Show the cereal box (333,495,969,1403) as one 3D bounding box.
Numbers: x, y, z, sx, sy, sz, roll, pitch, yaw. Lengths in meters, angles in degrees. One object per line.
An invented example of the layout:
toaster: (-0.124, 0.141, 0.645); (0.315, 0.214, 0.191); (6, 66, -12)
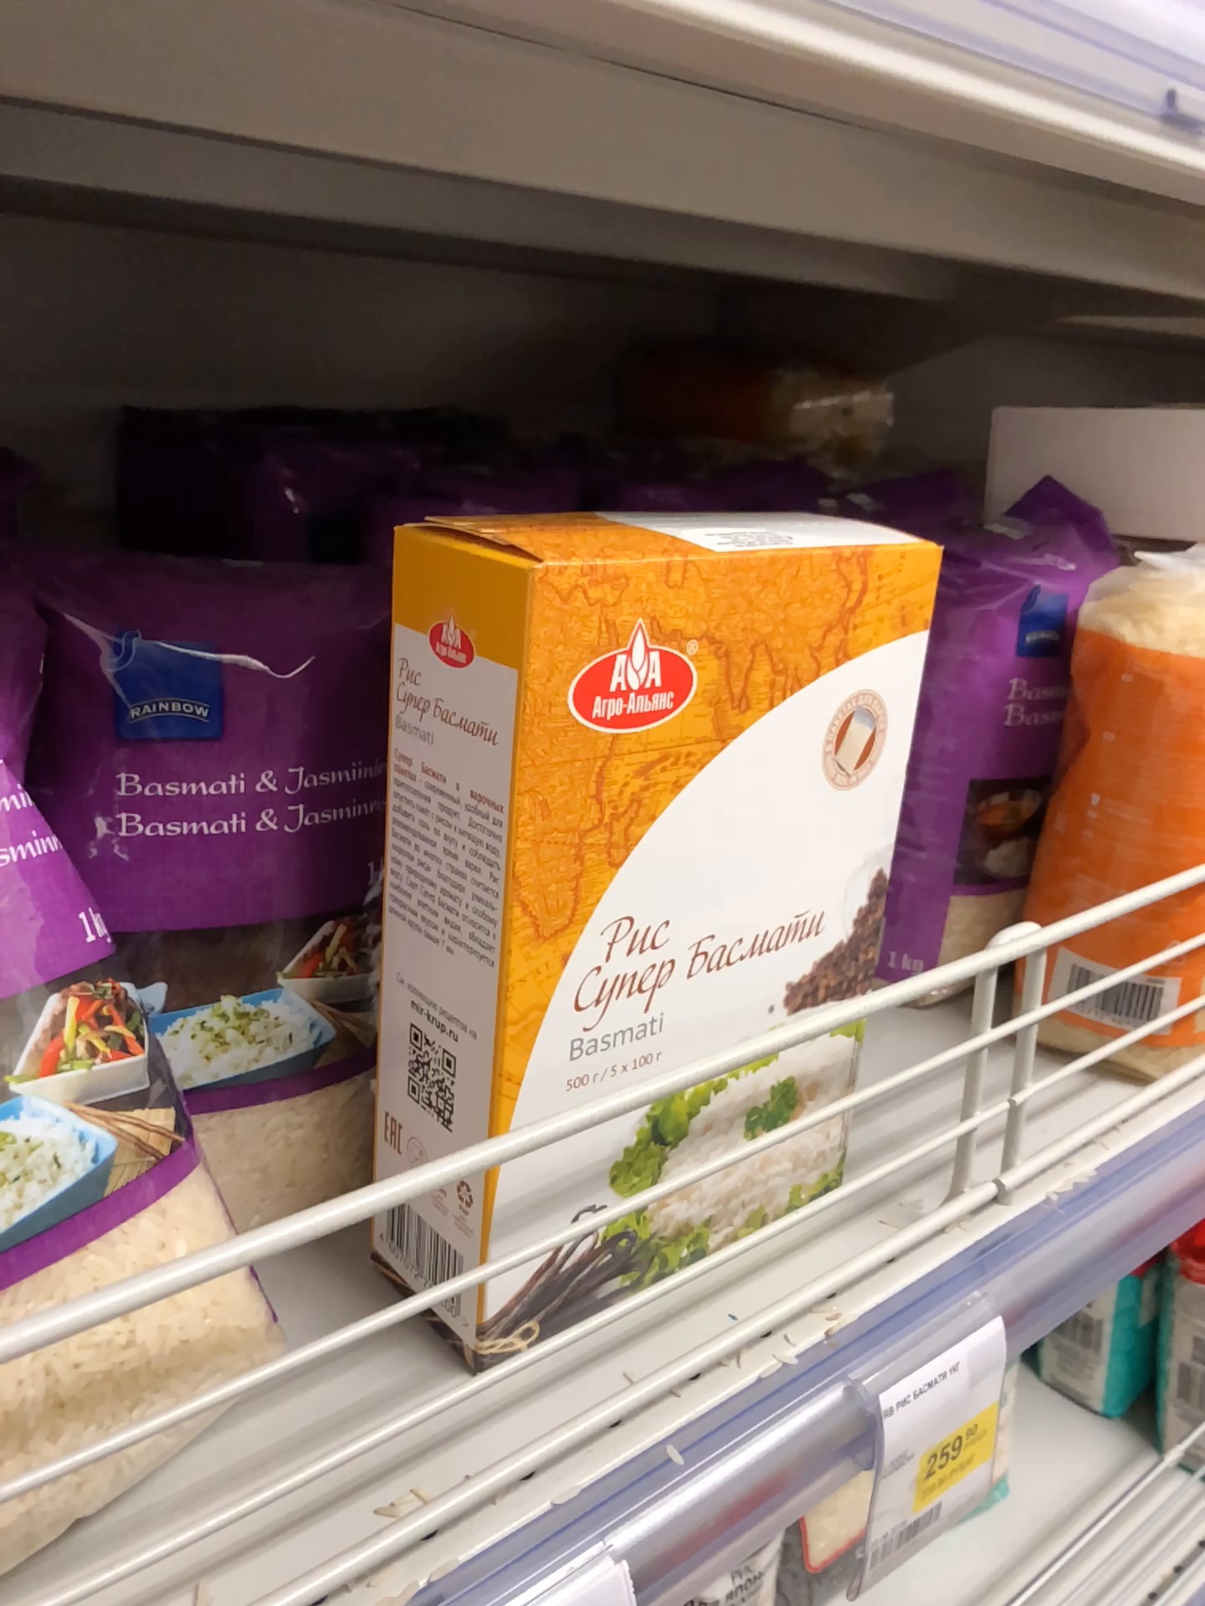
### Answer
cereal box: (0.011, 0.025, 0.334); (0.140, 0.189, 0.060); (-12, 23, -37)
